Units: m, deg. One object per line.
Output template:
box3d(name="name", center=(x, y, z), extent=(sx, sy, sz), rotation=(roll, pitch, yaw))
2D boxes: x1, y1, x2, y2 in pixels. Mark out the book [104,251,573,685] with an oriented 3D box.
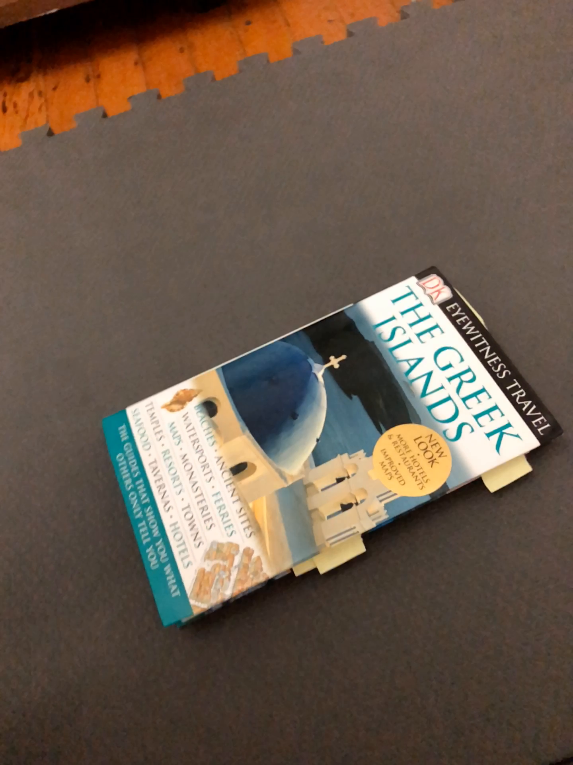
box3d(name="book", center=(0.033, 0.034, 0.358), extent=(0.240, 0.030, 0.161), rotation=(-24, 56, -4))
